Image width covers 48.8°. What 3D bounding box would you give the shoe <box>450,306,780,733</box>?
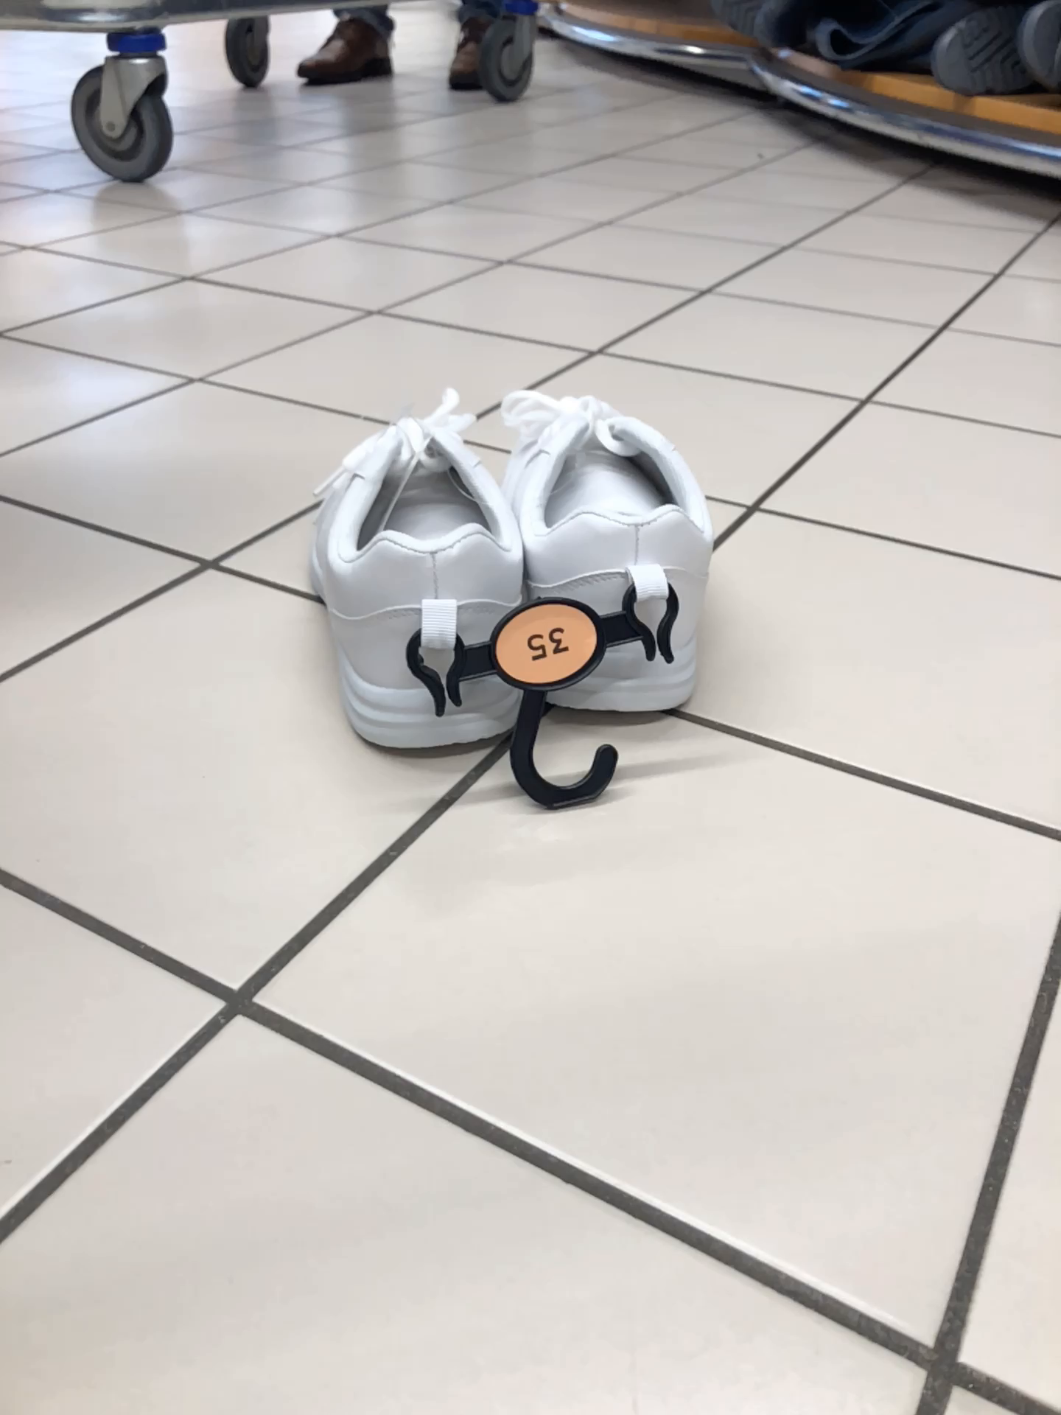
[{"bbox_3d":[0.022,-0.097,0.514,0.090,0.089,0.241,-4,34,-7],"label":"shoe"}]

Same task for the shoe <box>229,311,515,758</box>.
[{"bbox_3d":[-0.068,-0.089,0.496,0.090,0.089,0.241,-4,34,-7],"label":"shoe"}]
